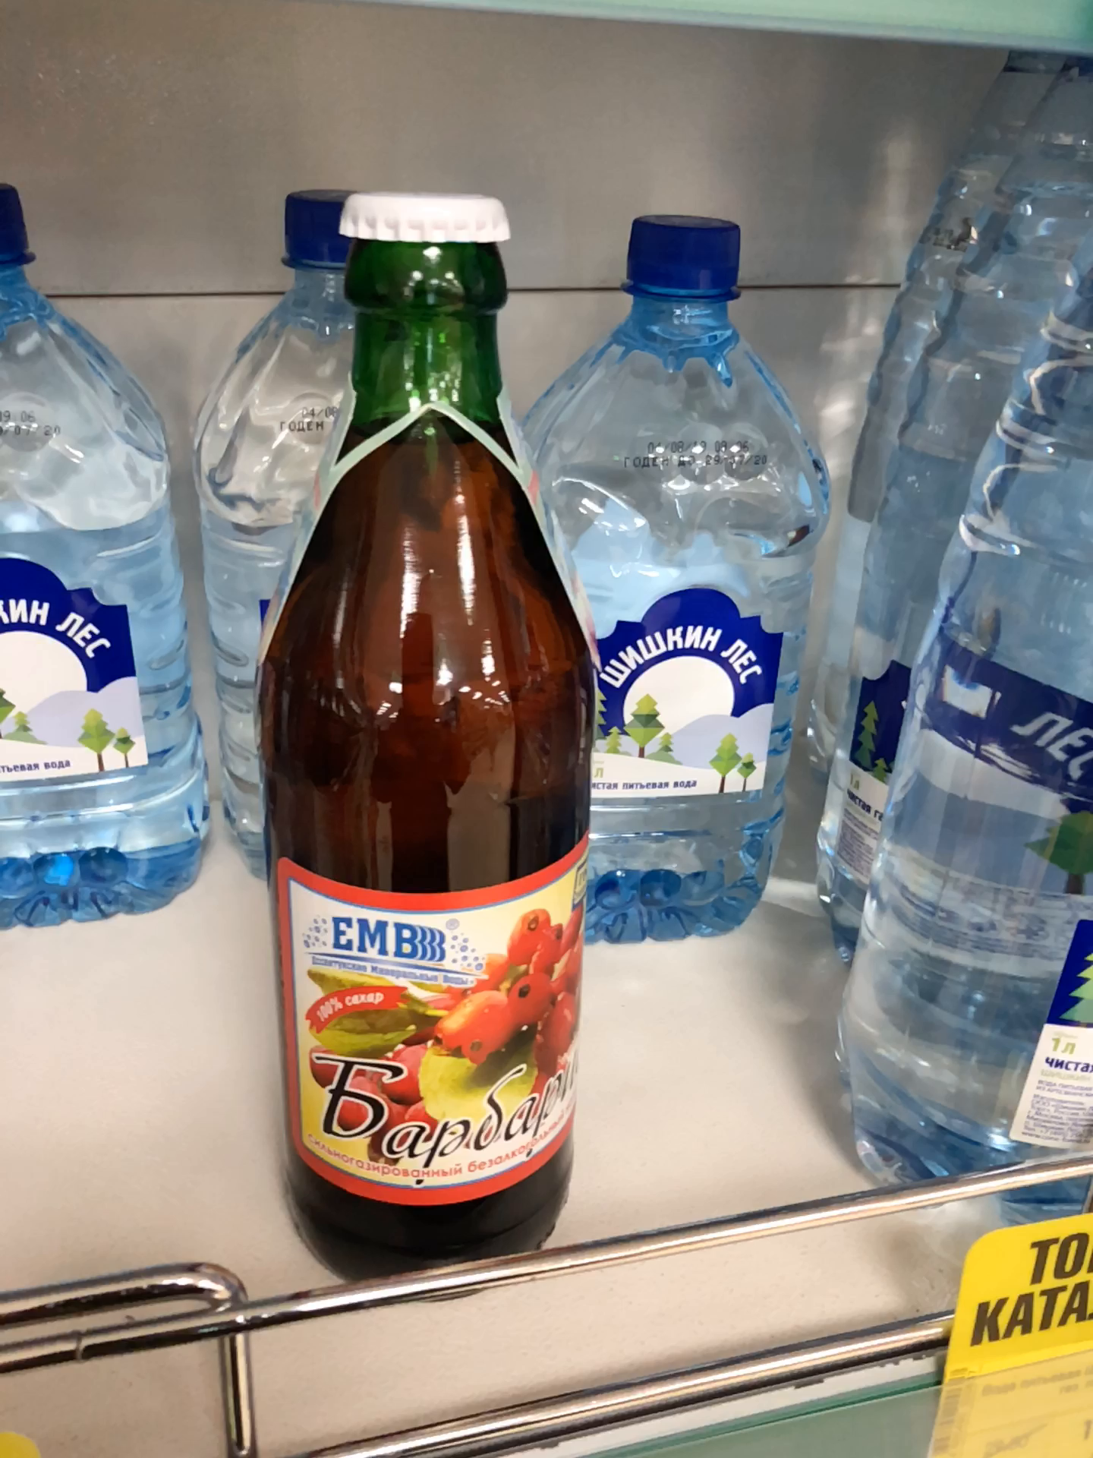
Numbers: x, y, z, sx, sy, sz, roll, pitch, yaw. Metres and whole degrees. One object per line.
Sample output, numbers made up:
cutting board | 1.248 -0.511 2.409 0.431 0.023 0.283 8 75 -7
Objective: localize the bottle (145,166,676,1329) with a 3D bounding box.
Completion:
bottle | -0.025 0.012 0.241 0.073 0.222 0.057 -5 27 -12
